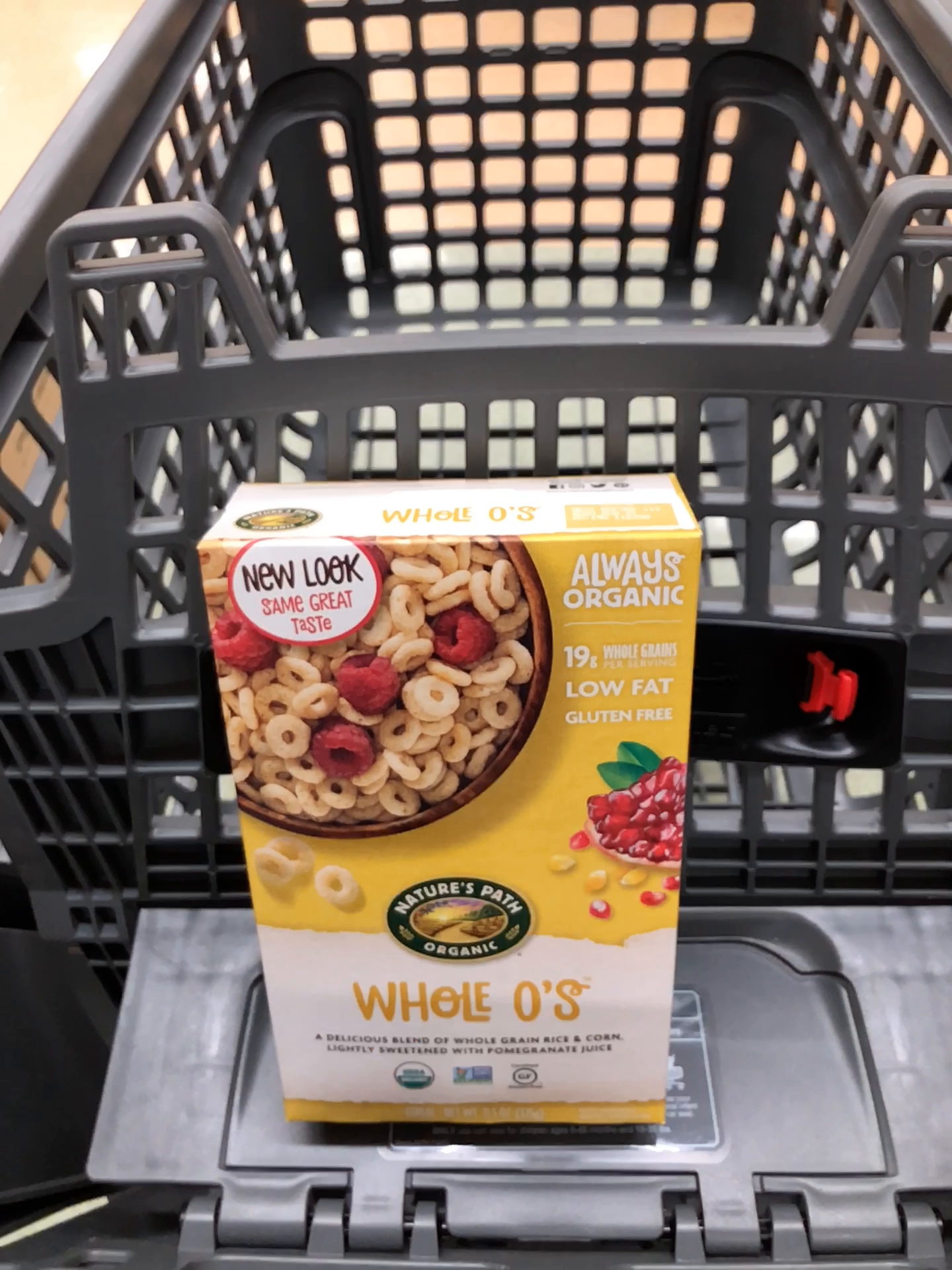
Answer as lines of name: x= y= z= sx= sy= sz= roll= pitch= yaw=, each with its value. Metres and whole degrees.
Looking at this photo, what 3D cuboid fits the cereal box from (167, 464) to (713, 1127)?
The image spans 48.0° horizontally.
cereal box: x=-0.007 y=0.068 z=0.394 sx=0.160 sy=0.250 sz=0.060 roll=0 pitch=26 yaw=3
